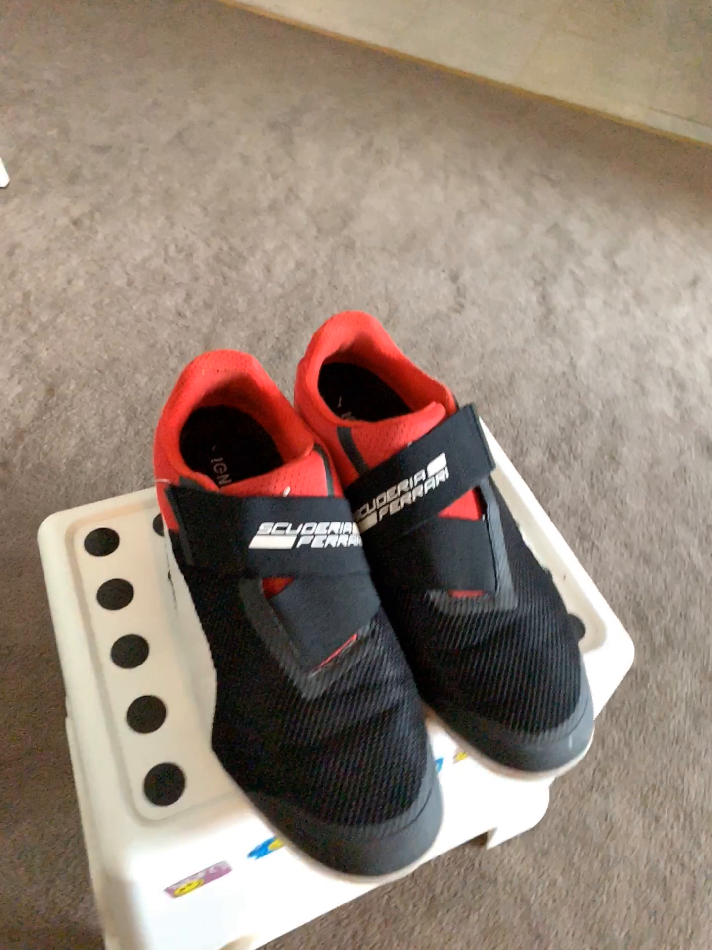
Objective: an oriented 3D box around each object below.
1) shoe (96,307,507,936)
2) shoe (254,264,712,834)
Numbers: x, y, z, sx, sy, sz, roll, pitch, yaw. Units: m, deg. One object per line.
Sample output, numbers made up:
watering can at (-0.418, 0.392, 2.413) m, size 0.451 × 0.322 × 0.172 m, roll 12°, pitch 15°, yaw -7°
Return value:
shoe at (-0.050, 0.050, 0.384) m, size 0.100 × 0.089 × 0.302 m, roll -14°, pitch 56°, yaw -19°
shoe at (0.049, 0.017, 0.412) m, size 0.110 × 0.089 × 0.302 m, roll -17°, pitch 57°, yaw -21°
